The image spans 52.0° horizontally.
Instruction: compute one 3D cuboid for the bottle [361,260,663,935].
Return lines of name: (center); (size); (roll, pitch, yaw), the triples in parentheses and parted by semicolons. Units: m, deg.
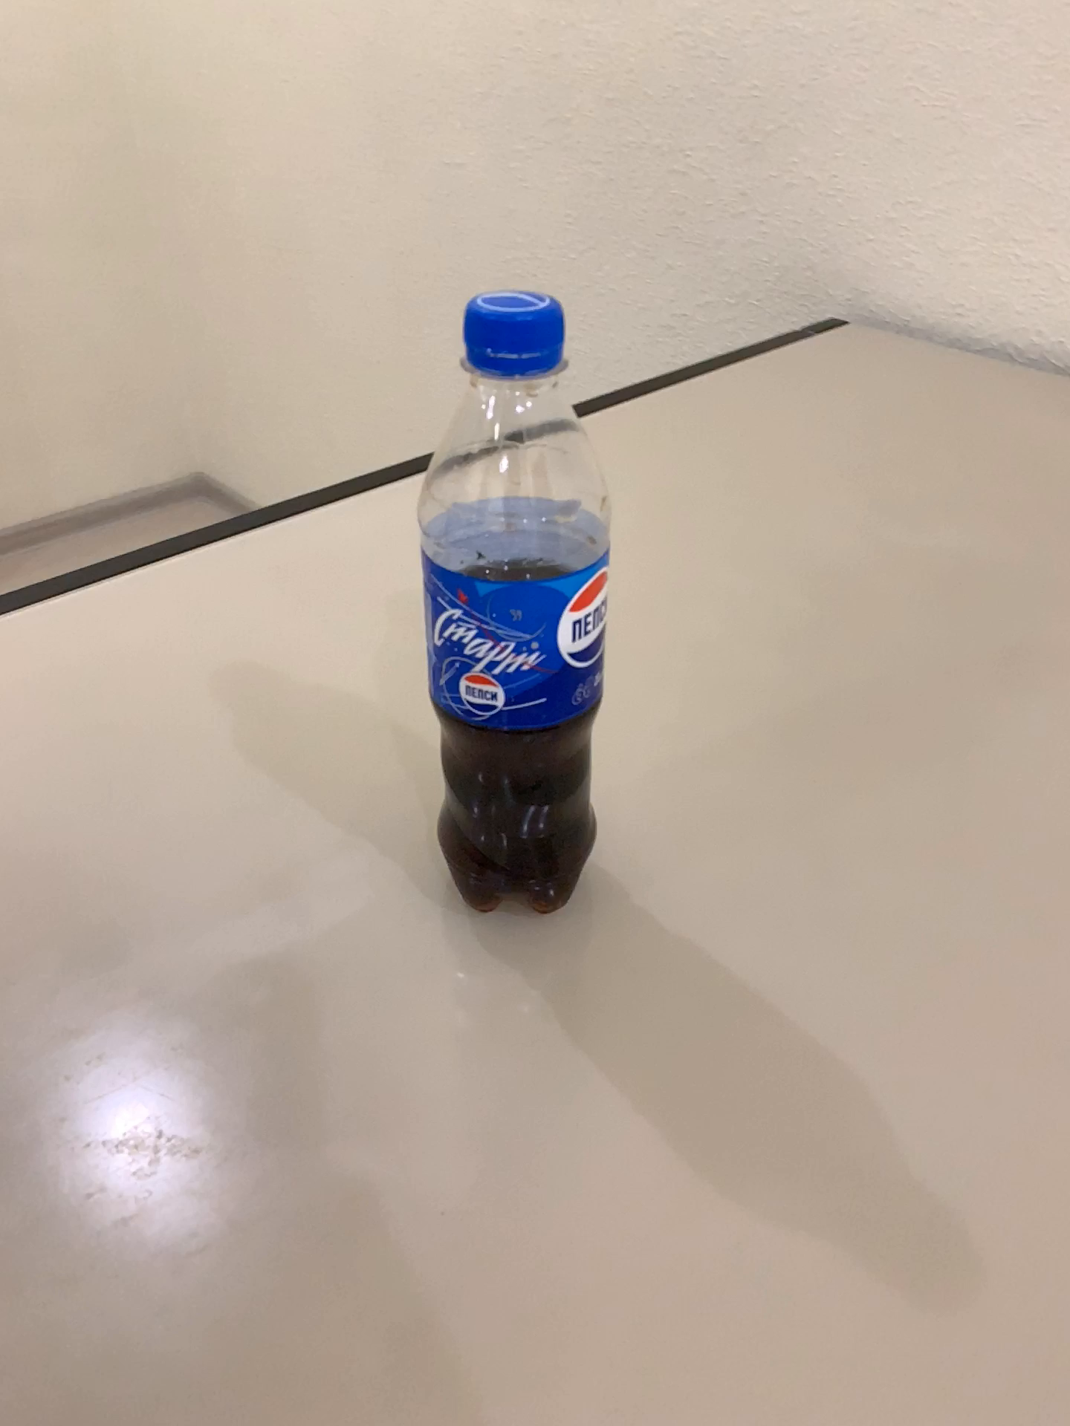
bottle: (-0.011, -0.034, 0.402); (0.080, 0.229, 0.080); (0, 35, 0)
